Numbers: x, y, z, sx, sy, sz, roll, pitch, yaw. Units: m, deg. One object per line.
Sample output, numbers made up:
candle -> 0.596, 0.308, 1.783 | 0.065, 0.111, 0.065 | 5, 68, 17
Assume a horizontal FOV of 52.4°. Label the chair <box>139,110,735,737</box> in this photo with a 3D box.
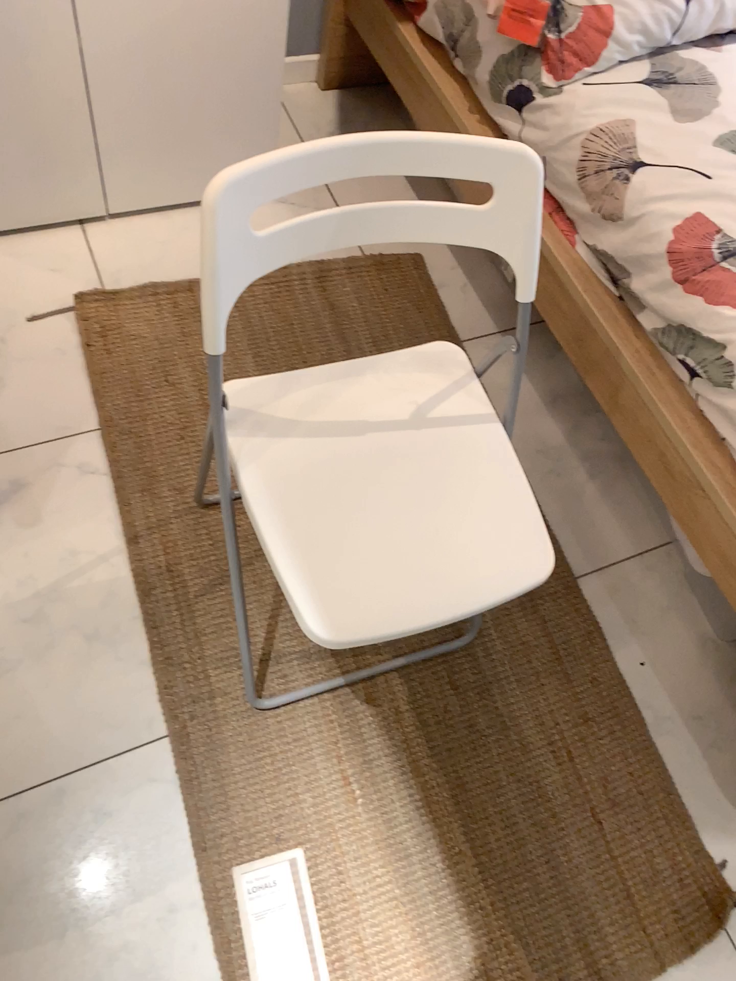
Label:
chair -> 0.013, -0.030, 0.952 | 0.450, 0.659, 0.430 | -13, 65, -17
